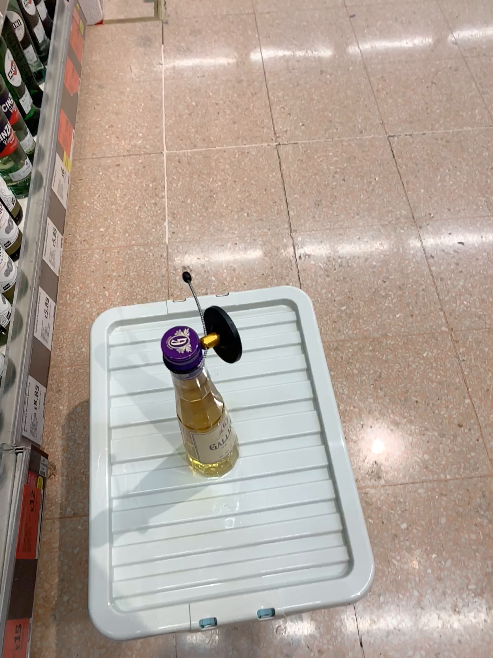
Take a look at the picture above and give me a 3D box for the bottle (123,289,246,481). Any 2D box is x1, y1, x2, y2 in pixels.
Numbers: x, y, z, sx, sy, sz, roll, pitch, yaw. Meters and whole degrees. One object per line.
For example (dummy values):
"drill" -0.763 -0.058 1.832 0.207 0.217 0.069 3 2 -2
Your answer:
"bottle" -0.048 0.087 0.549 0.070 0.348 0.073 -1 62 1
